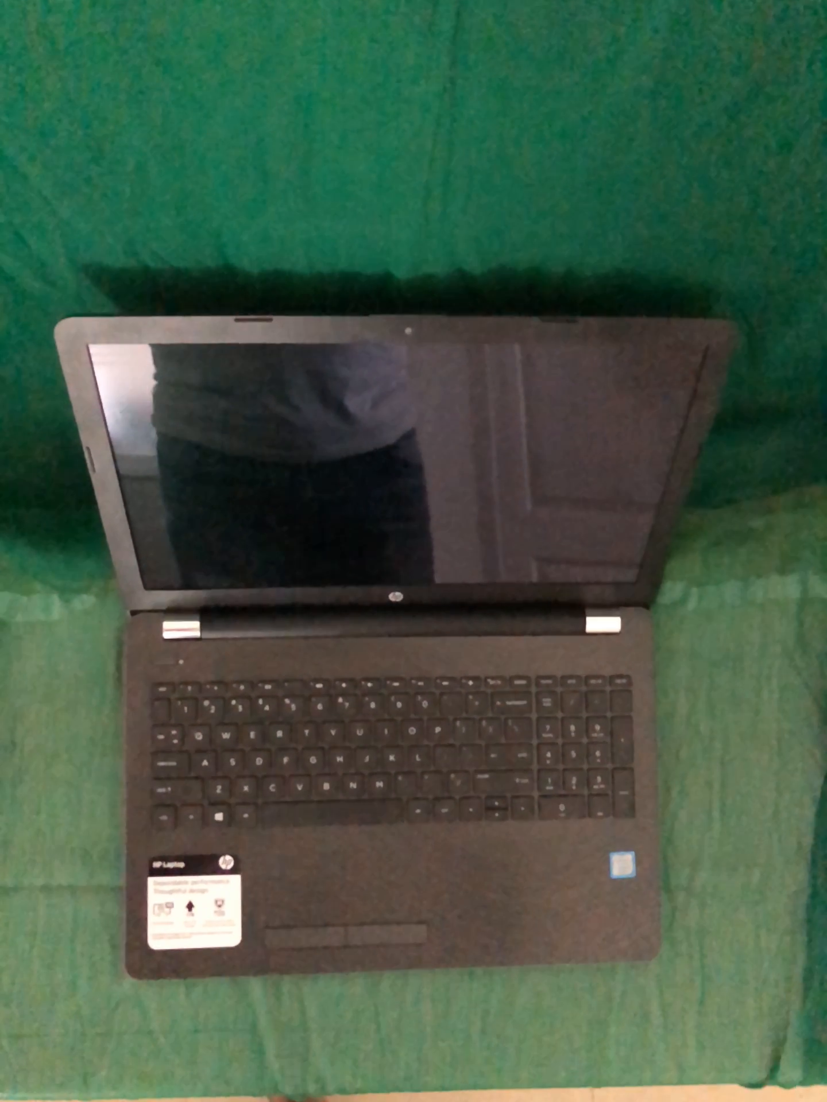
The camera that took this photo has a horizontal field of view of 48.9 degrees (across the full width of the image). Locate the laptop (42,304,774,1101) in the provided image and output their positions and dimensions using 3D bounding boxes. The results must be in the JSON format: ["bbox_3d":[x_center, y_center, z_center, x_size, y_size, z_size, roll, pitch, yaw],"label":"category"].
[{"bbox_3d":[-0.004,0.080,0.570,0.378,0.180,0.414,0,87,-4],"label":"laptop"}]
